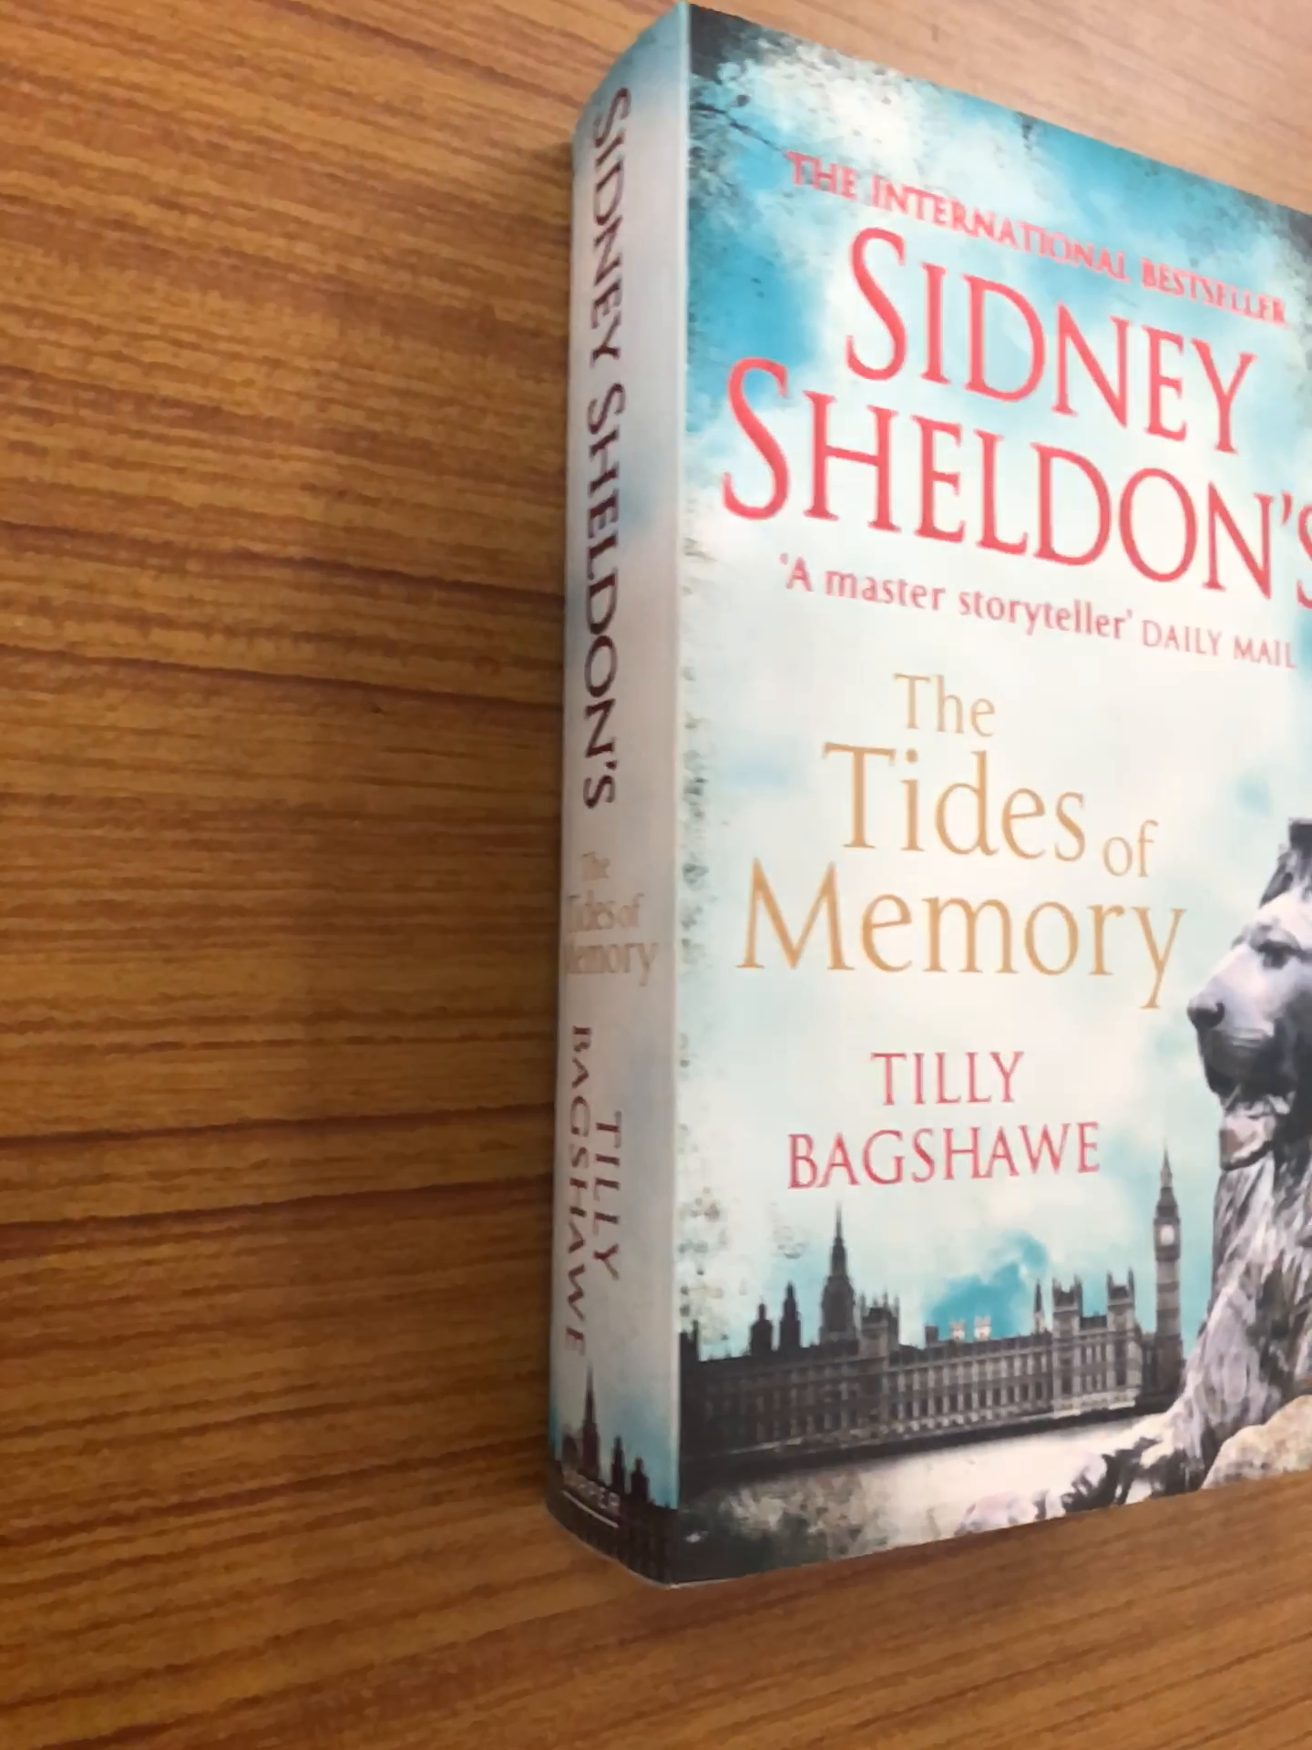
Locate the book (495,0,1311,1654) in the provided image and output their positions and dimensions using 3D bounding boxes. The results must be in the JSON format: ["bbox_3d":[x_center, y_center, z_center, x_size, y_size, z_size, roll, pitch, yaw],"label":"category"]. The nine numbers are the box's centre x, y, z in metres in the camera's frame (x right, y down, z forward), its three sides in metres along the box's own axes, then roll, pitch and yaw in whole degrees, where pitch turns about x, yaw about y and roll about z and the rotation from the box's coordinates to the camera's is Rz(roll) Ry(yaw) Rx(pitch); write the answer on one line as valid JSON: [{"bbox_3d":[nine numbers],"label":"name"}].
[{"bbox_3d":[0.046,-0.007,0.189,0.122,0.037,0.168,3,85,-26],"label":"book"}]
